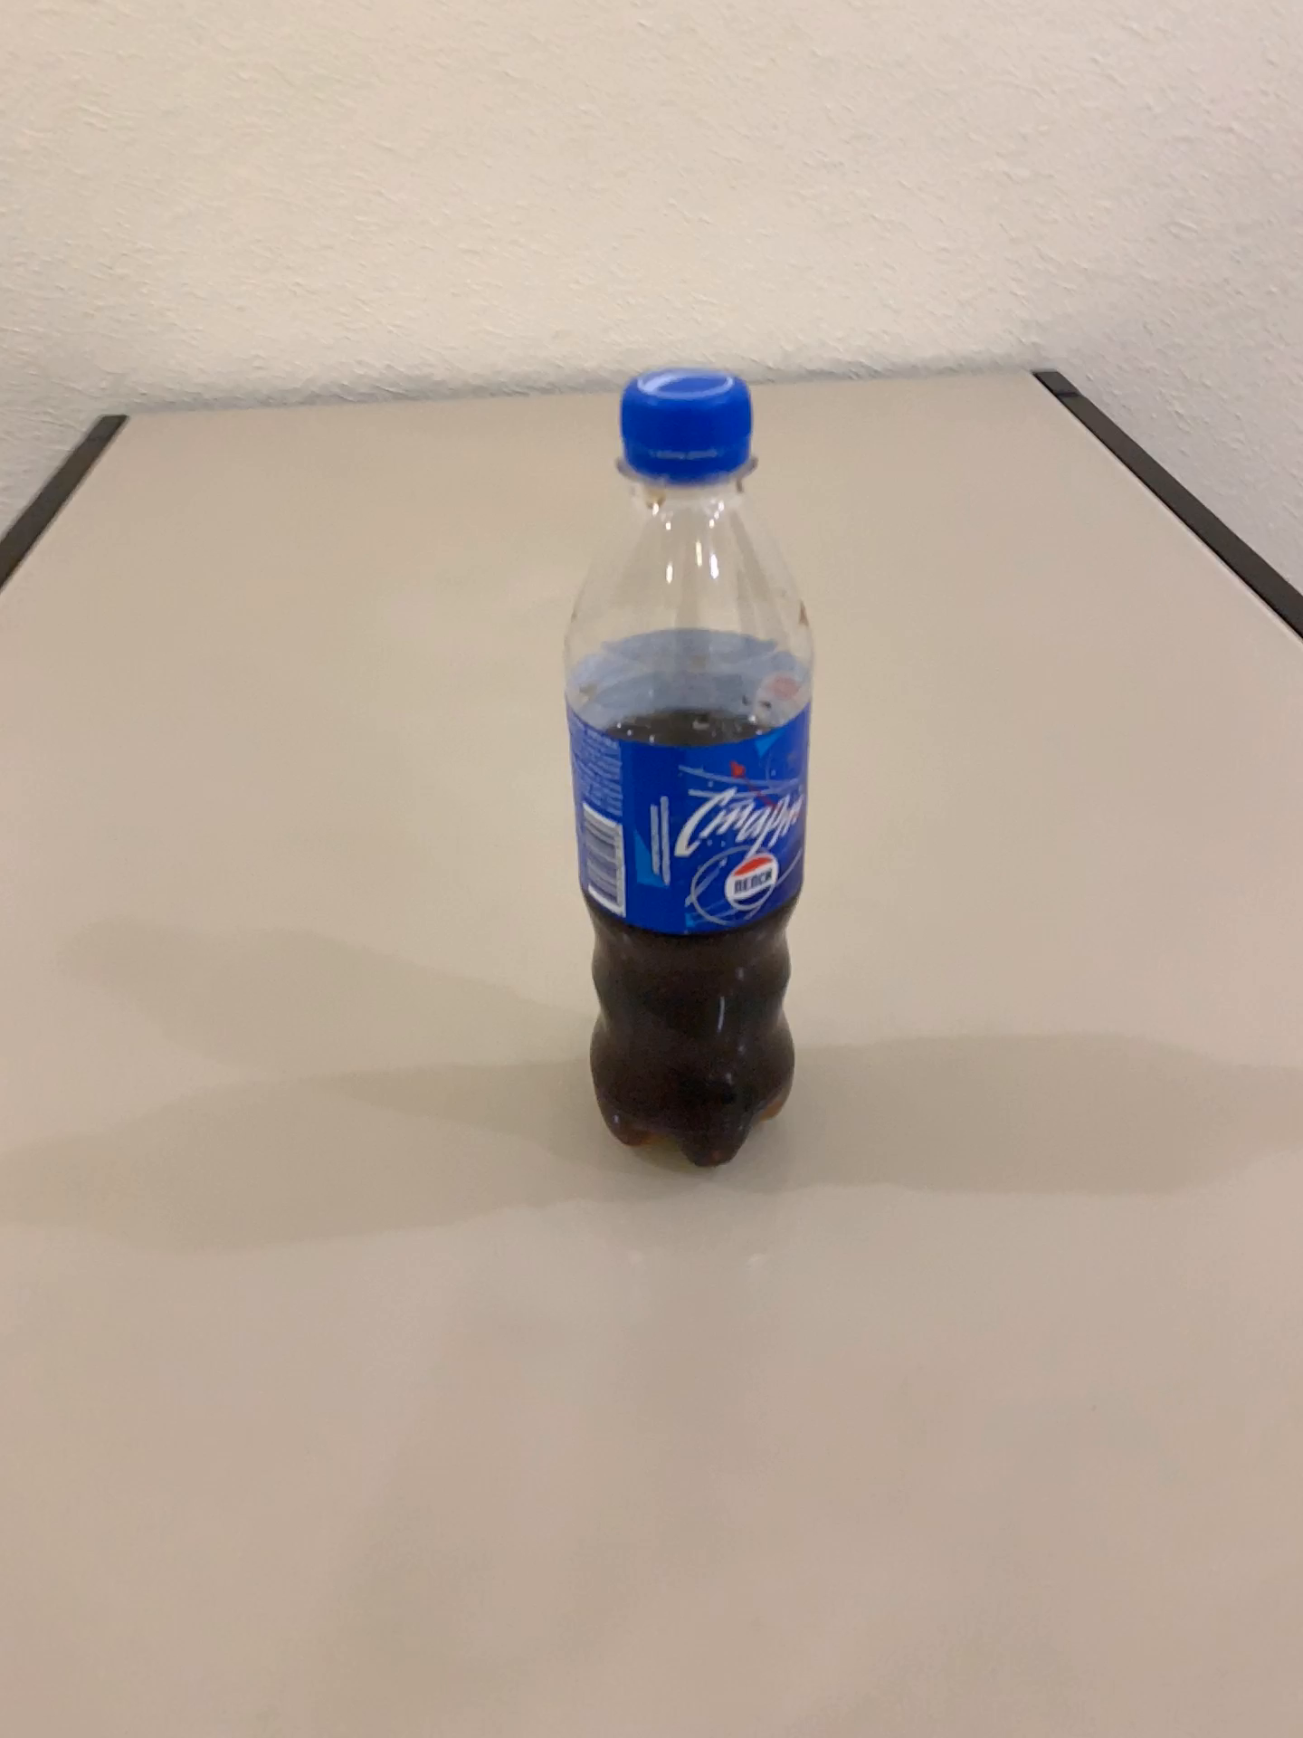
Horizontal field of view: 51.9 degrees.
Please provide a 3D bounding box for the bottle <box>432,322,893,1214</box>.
[{"bbox_3d":[0.008,-0.021,0.378,0.080,0.229,0.080,-1,36,1],"label":"bottle"}]
